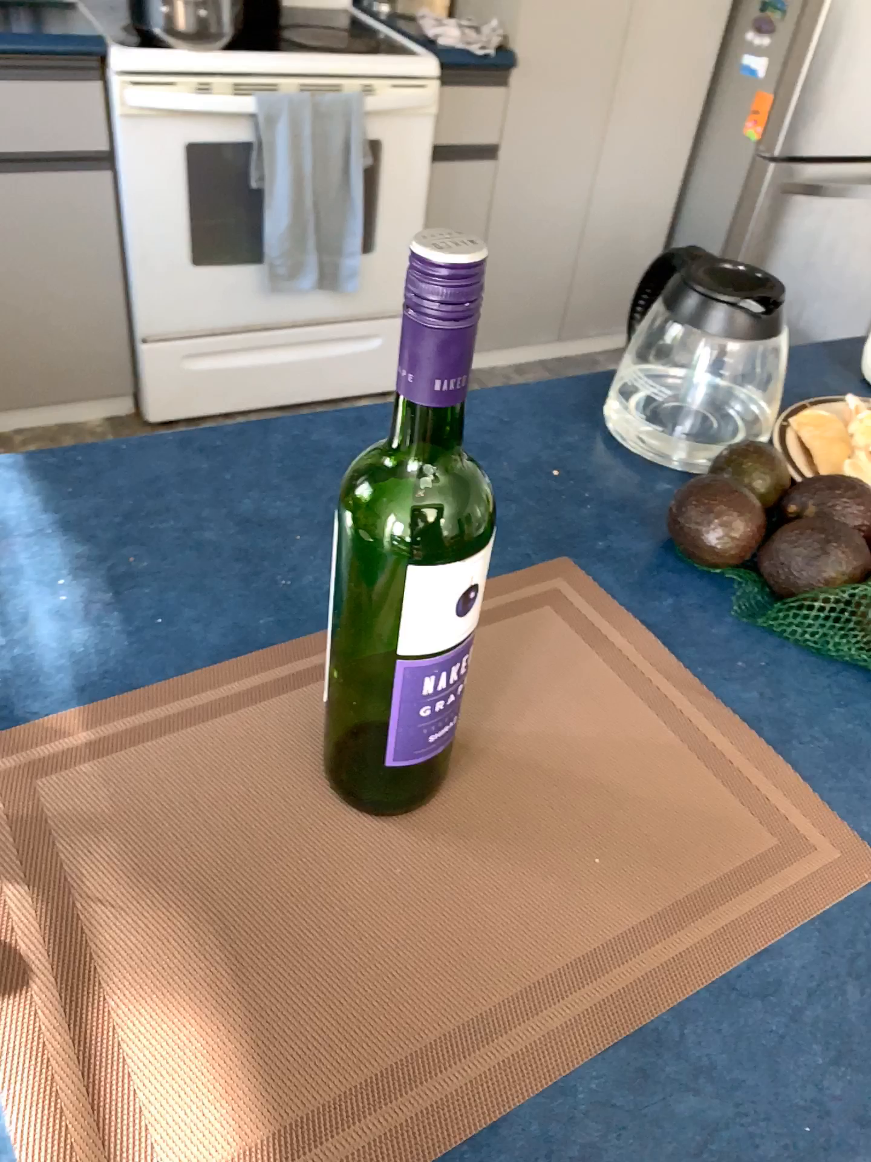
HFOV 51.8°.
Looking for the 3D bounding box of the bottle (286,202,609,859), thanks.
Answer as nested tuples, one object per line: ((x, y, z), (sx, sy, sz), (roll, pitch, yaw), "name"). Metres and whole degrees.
((-0.009, -0.005, 0.409), (0.080, 0.287, 0.081), (5, 40, -4), "bottle")
